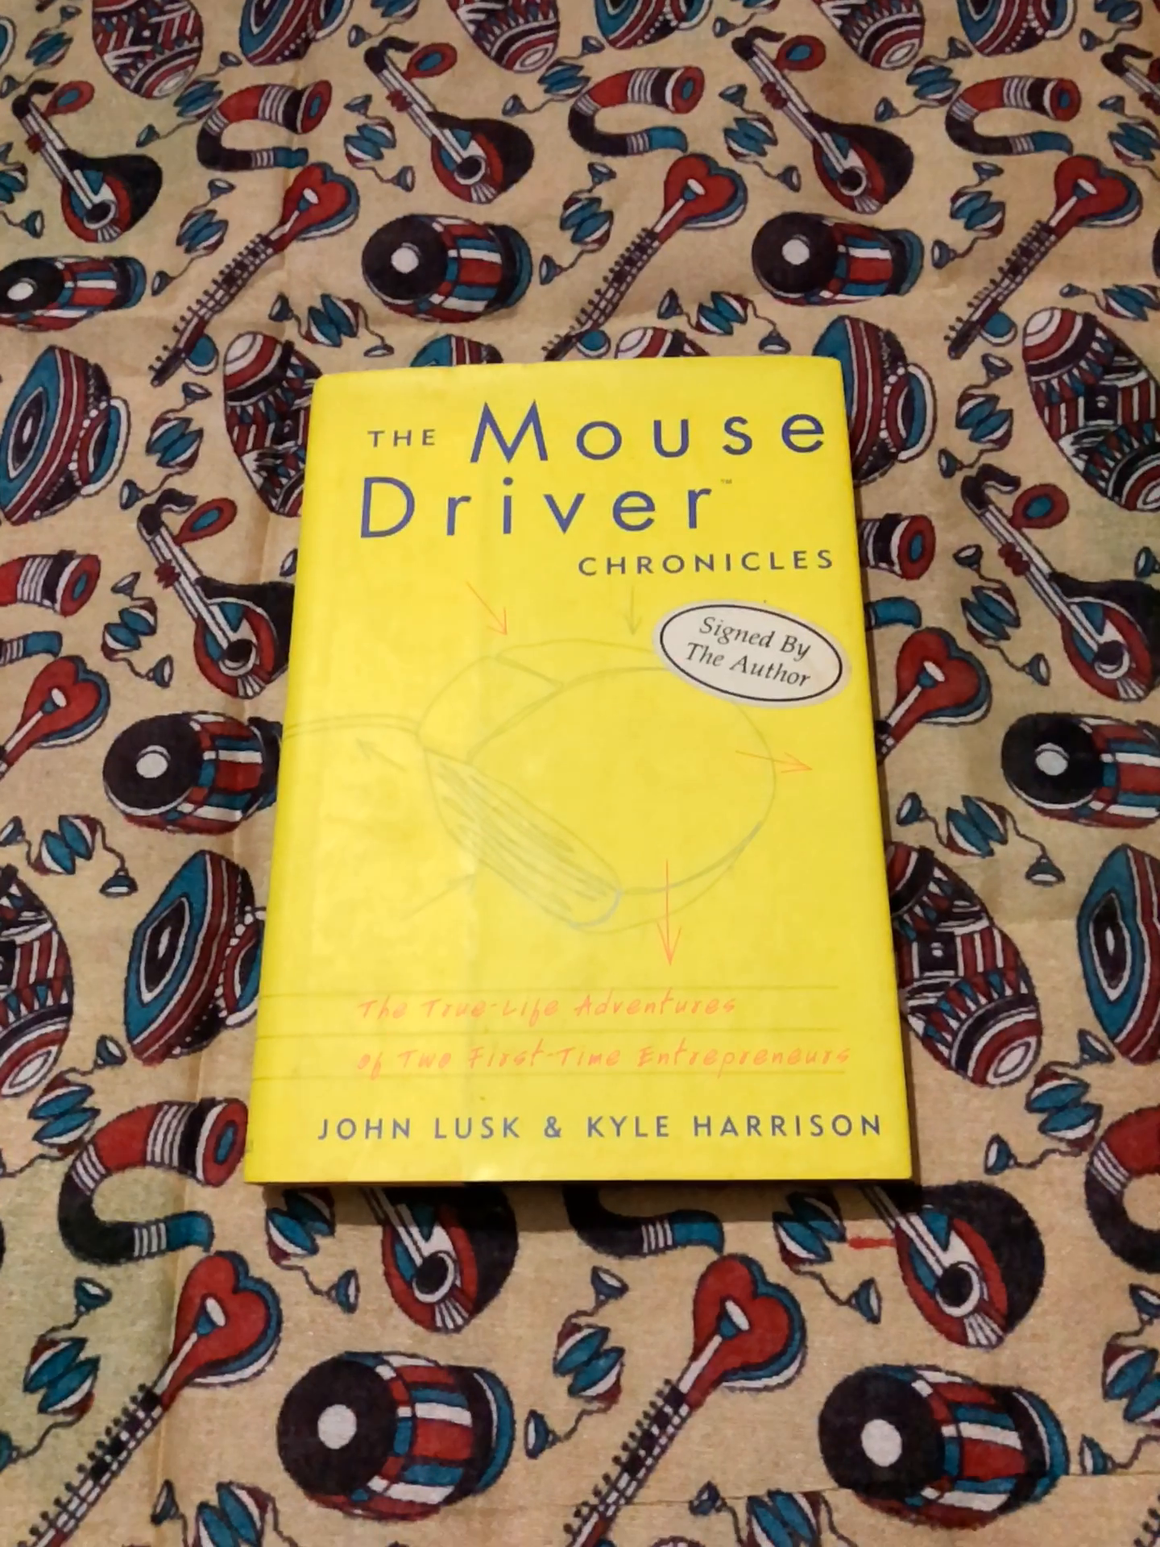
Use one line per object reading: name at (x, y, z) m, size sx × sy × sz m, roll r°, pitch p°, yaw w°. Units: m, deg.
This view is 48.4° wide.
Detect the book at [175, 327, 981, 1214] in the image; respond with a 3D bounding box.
book at (-0.001, -0.009, 0.320) m, size 0.160 × 0.040 × 0.220 m, roll -1°, pitch 65°, yaw 2°
